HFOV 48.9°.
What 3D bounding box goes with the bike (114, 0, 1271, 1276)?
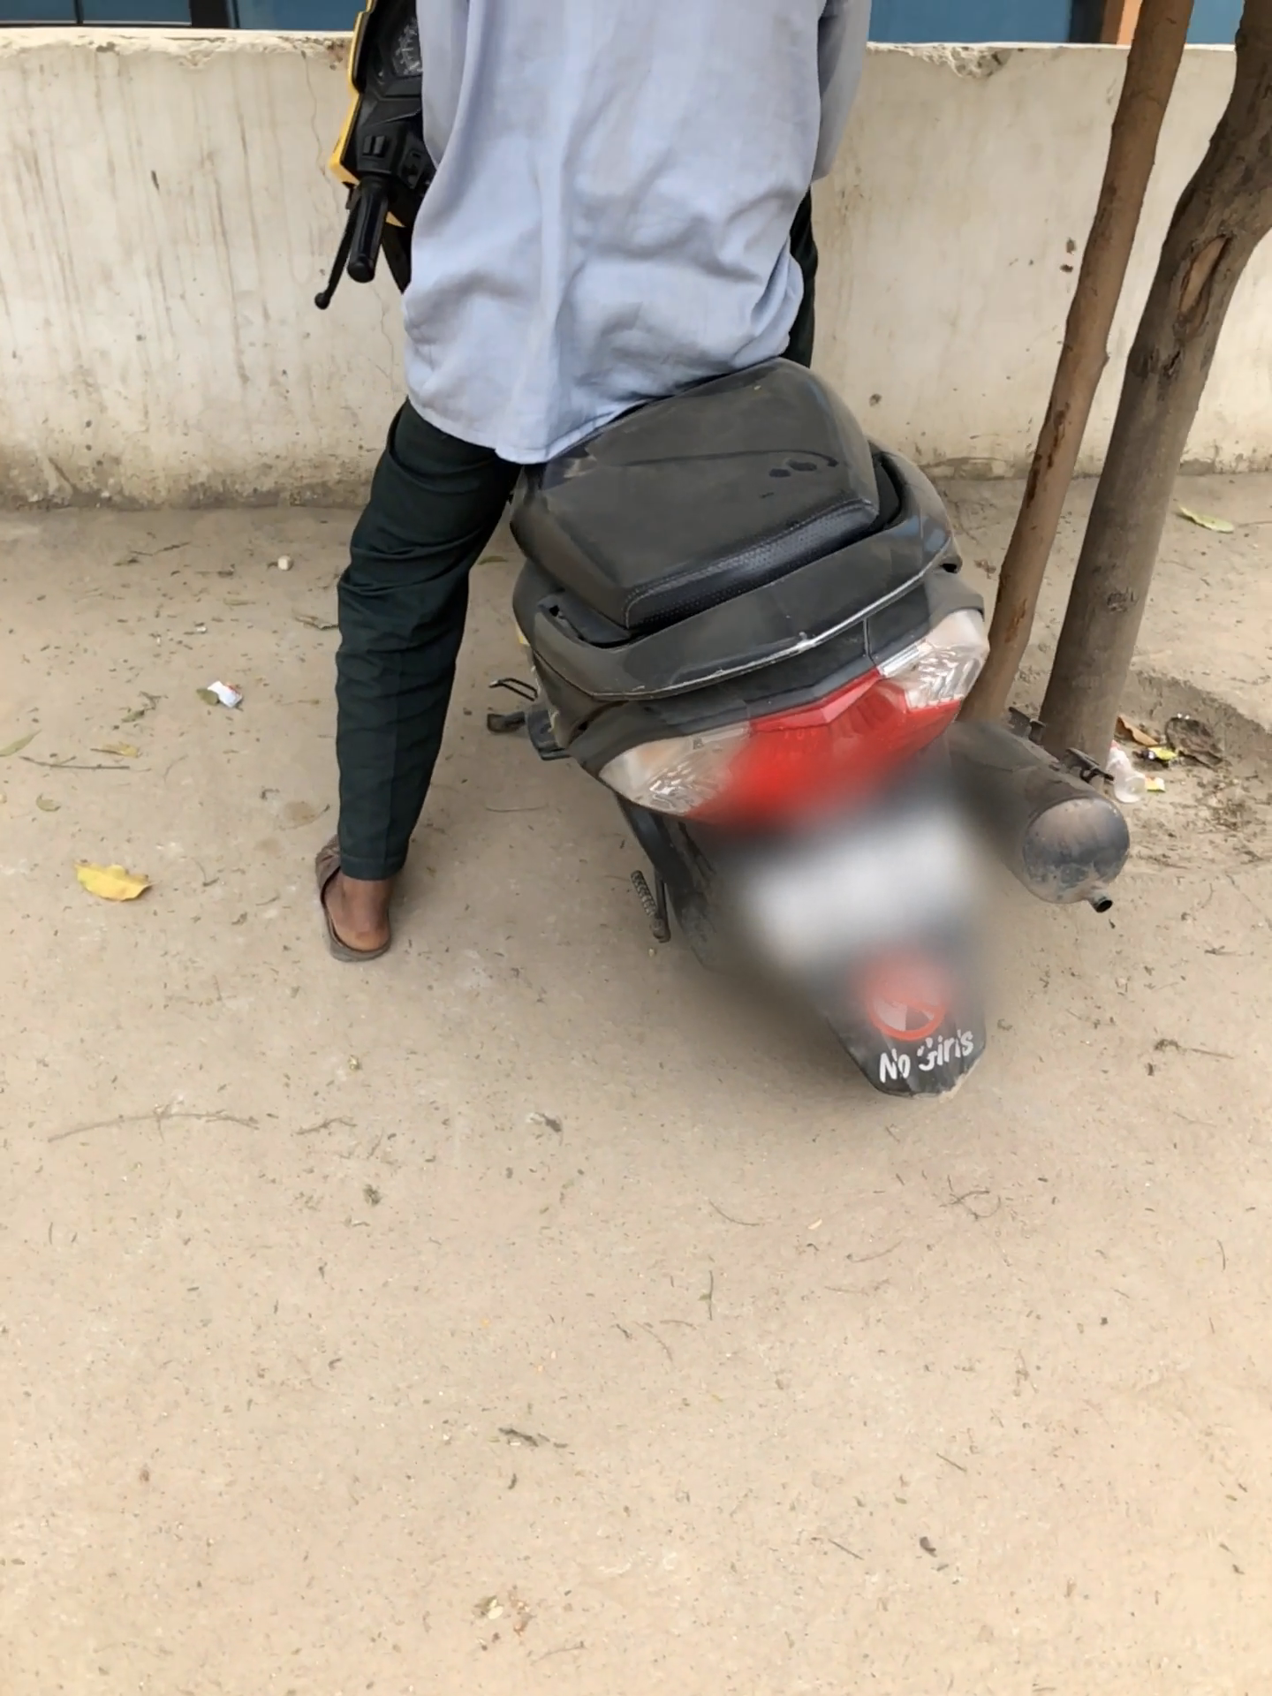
[{"bbox_3d":[-0.157,-0.581,1.705,0.635,1.144,1.578,-10,39,-16],"label":"bike"}]
